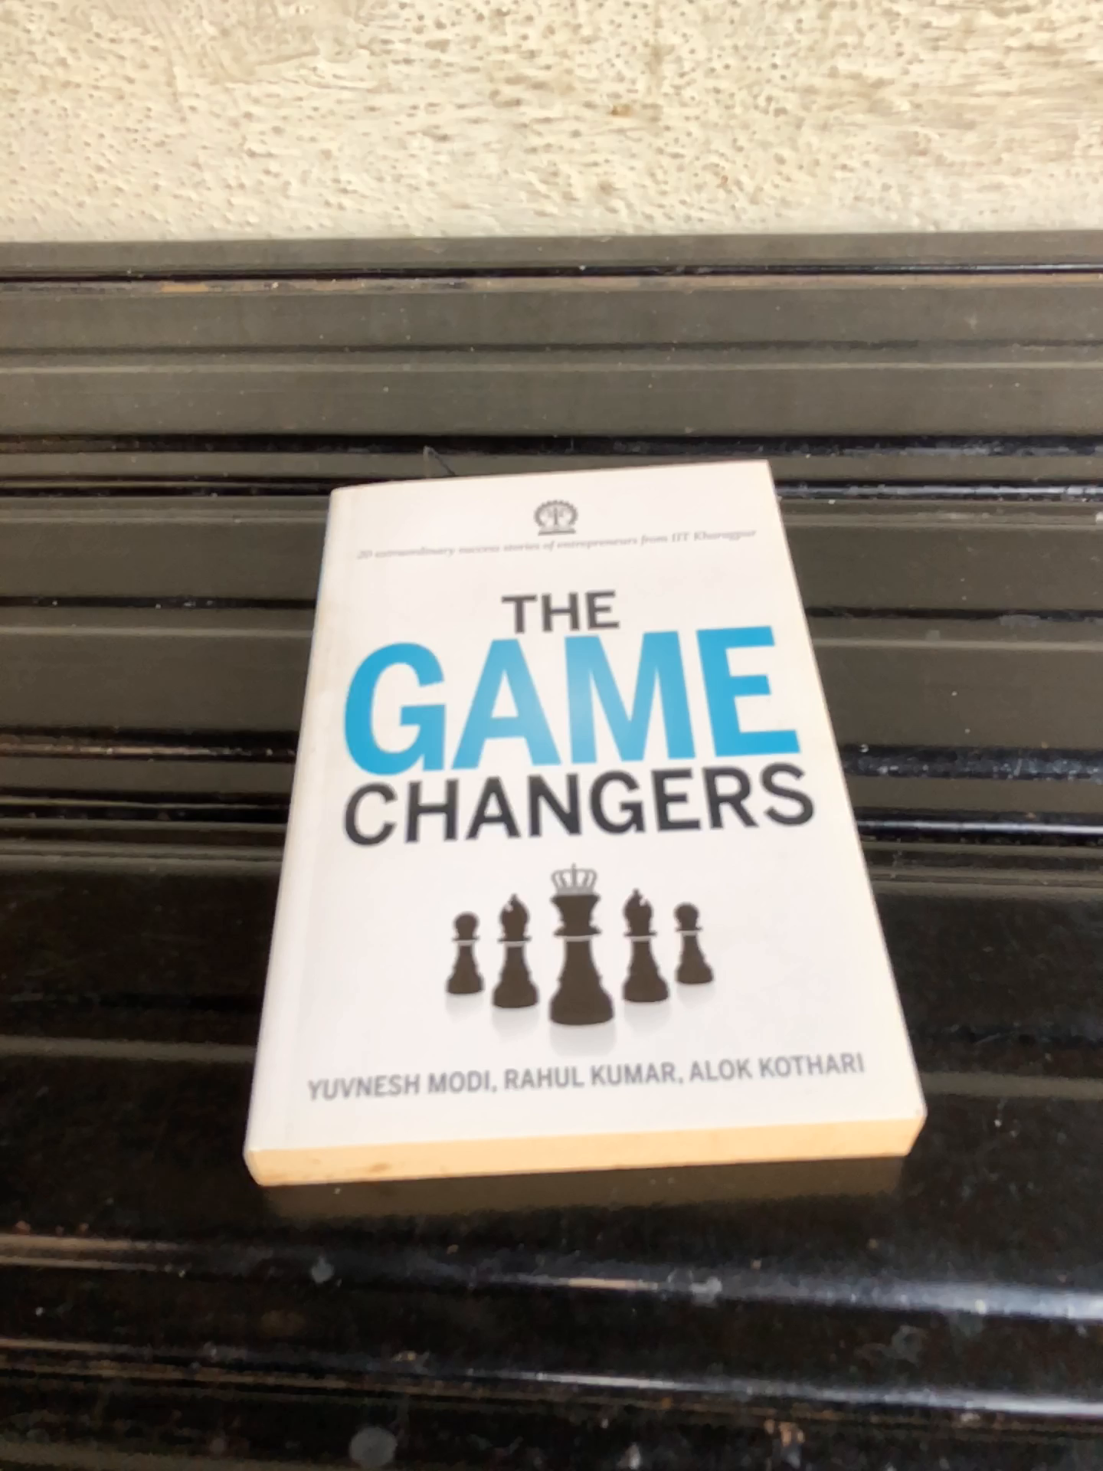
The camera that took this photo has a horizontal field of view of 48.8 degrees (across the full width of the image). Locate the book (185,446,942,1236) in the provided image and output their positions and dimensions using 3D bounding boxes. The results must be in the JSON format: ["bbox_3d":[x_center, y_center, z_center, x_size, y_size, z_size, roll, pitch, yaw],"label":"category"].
[{"bbox_3d":[-0.001,0.008,0.304,0.140,0.030,0.211,-3,50,1],"label":"book"}]
